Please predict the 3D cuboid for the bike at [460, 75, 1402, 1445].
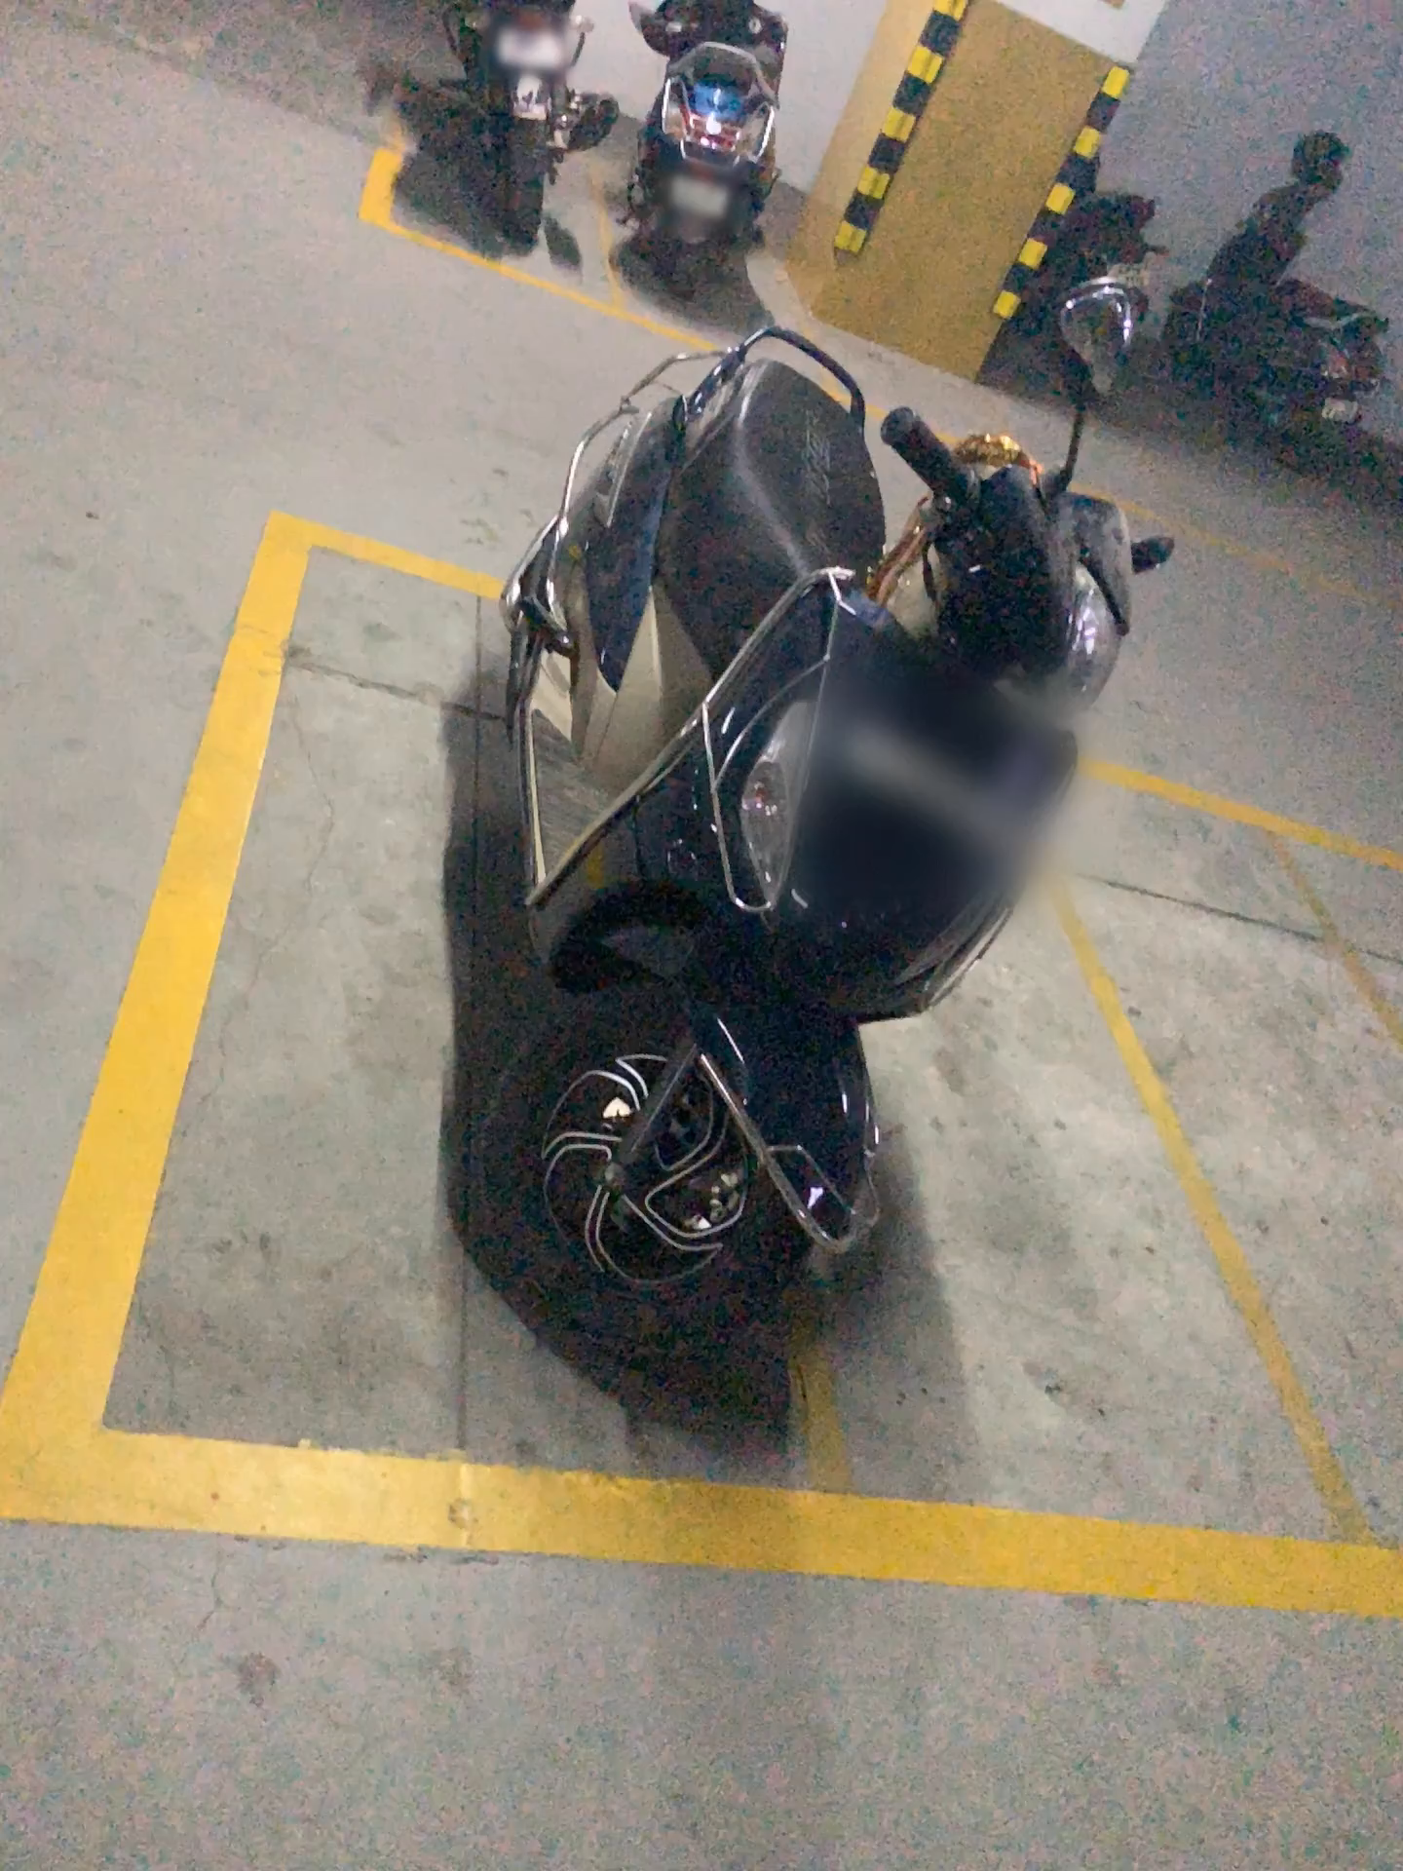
[{"bbox_3d":[0.133,-0.329,2.149,0.665,1.028,1.700,10,43,-23],"label":"bike"}]
